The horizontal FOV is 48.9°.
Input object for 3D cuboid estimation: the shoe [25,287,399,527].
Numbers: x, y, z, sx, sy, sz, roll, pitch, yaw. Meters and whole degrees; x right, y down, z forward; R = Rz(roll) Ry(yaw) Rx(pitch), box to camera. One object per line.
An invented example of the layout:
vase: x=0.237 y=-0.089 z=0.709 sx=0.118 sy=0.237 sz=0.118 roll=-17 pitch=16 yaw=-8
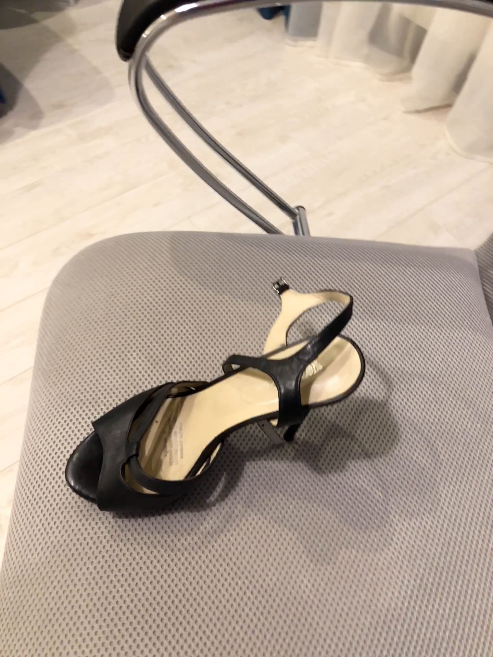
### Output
shoe: x=-0.026 y=0.056 z=0.376 sx=0.210 sy=0.119 sz=0.090 roll=-8 pitch=57 yaw=-9
